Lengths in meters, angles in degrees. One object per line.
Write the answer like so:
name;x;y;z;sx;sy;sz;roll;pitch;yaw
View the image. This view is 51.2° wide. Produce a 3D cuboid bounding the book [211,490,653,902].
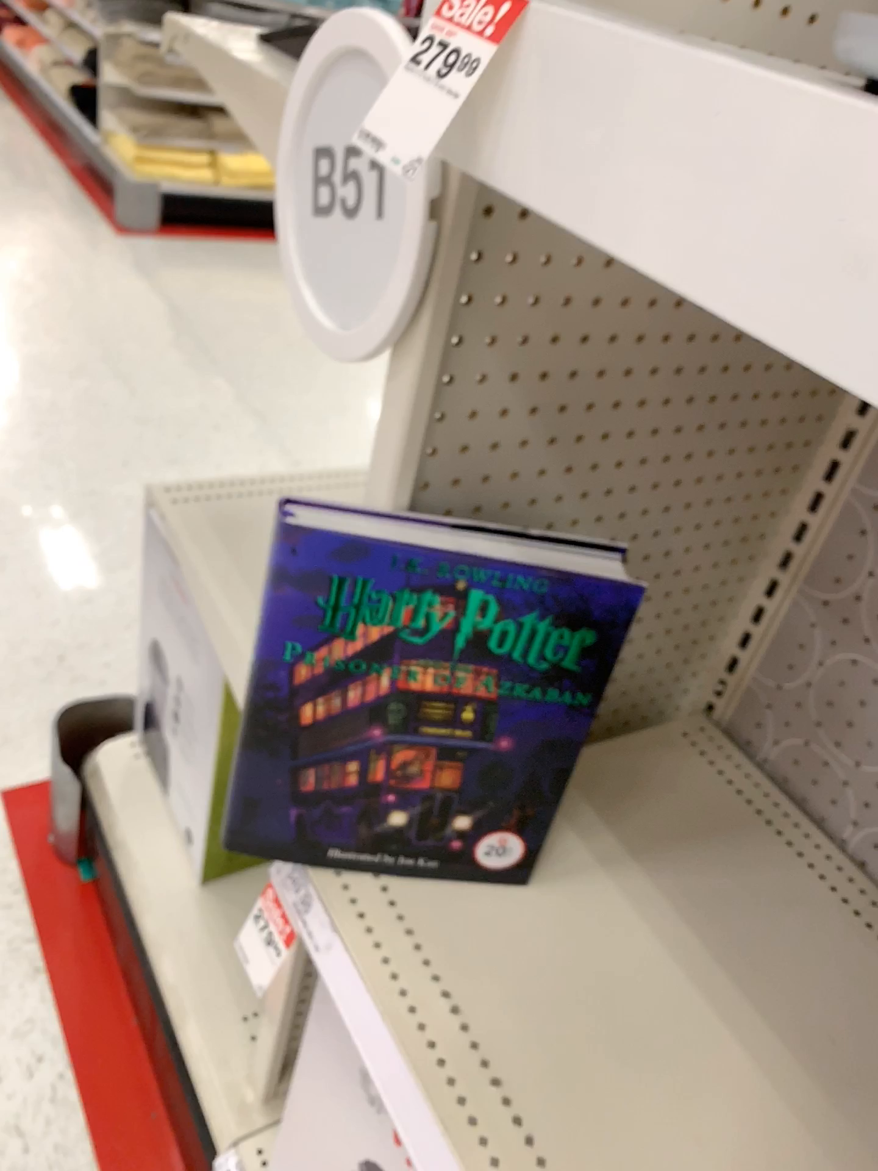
book;-0.018;0.090;0.625;0.240;0.280;0.050;8;30;-10
